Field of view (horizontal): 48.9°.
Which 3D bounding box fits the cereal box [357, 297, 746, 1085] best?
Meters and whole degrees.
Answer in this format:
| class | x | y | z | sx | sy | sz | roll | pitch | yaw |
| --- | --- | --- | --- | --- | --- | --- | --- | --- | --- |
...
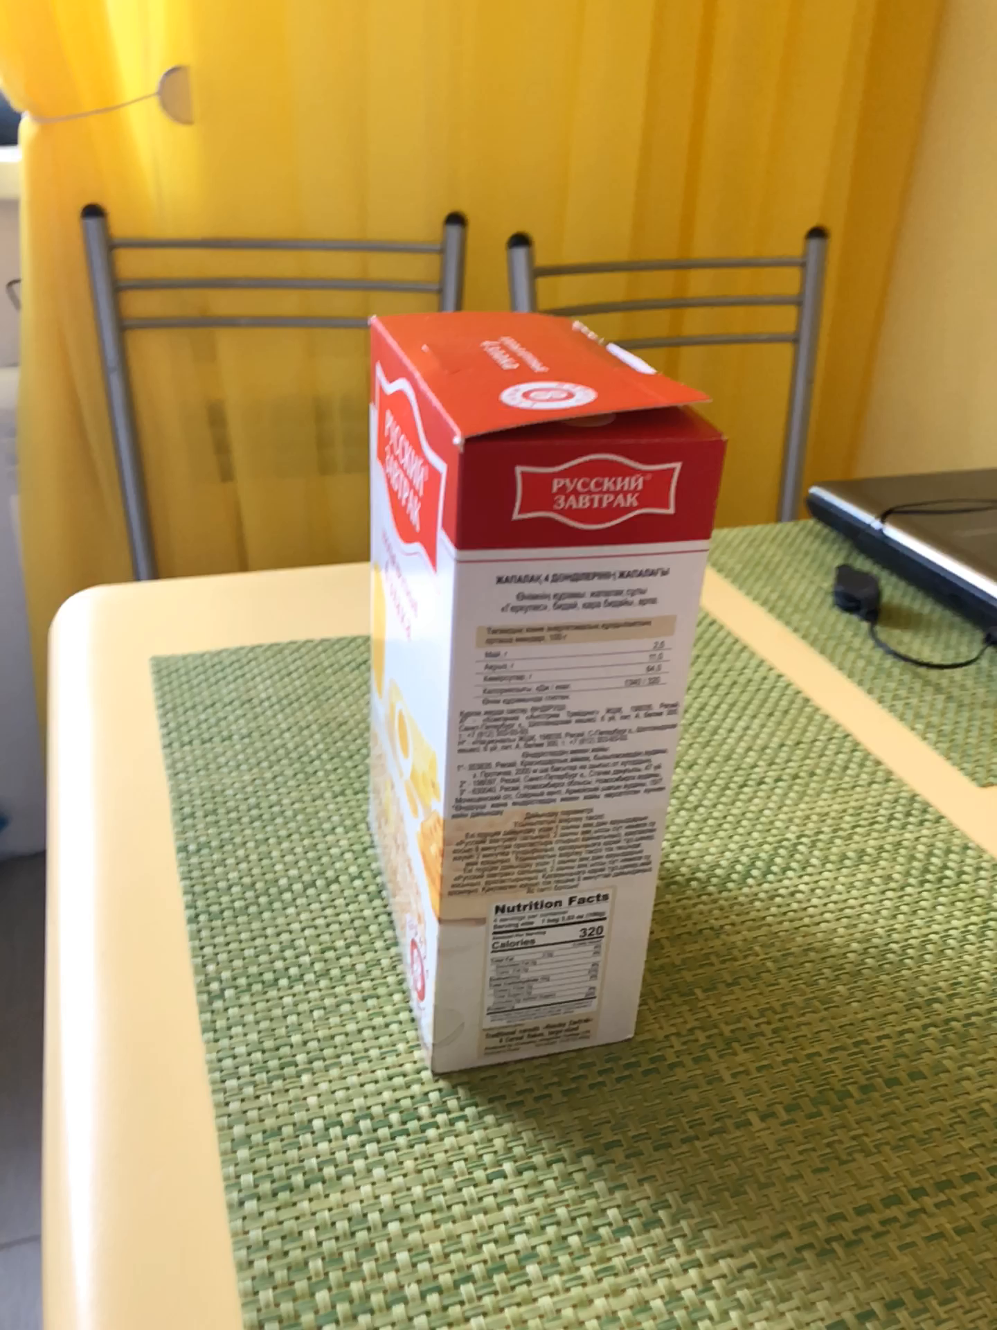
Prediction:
| class | x | y | z | sx | sy | sz | roll | pitch | yaw |
| --- | --- | --- | --- | --- | --- | --- | --- | --- | --- |
| cereal box | 0.001 | 0.002 | 0.339 | 0.070 | 0.199 | 0.131 | -4 | 29 | -14 |
